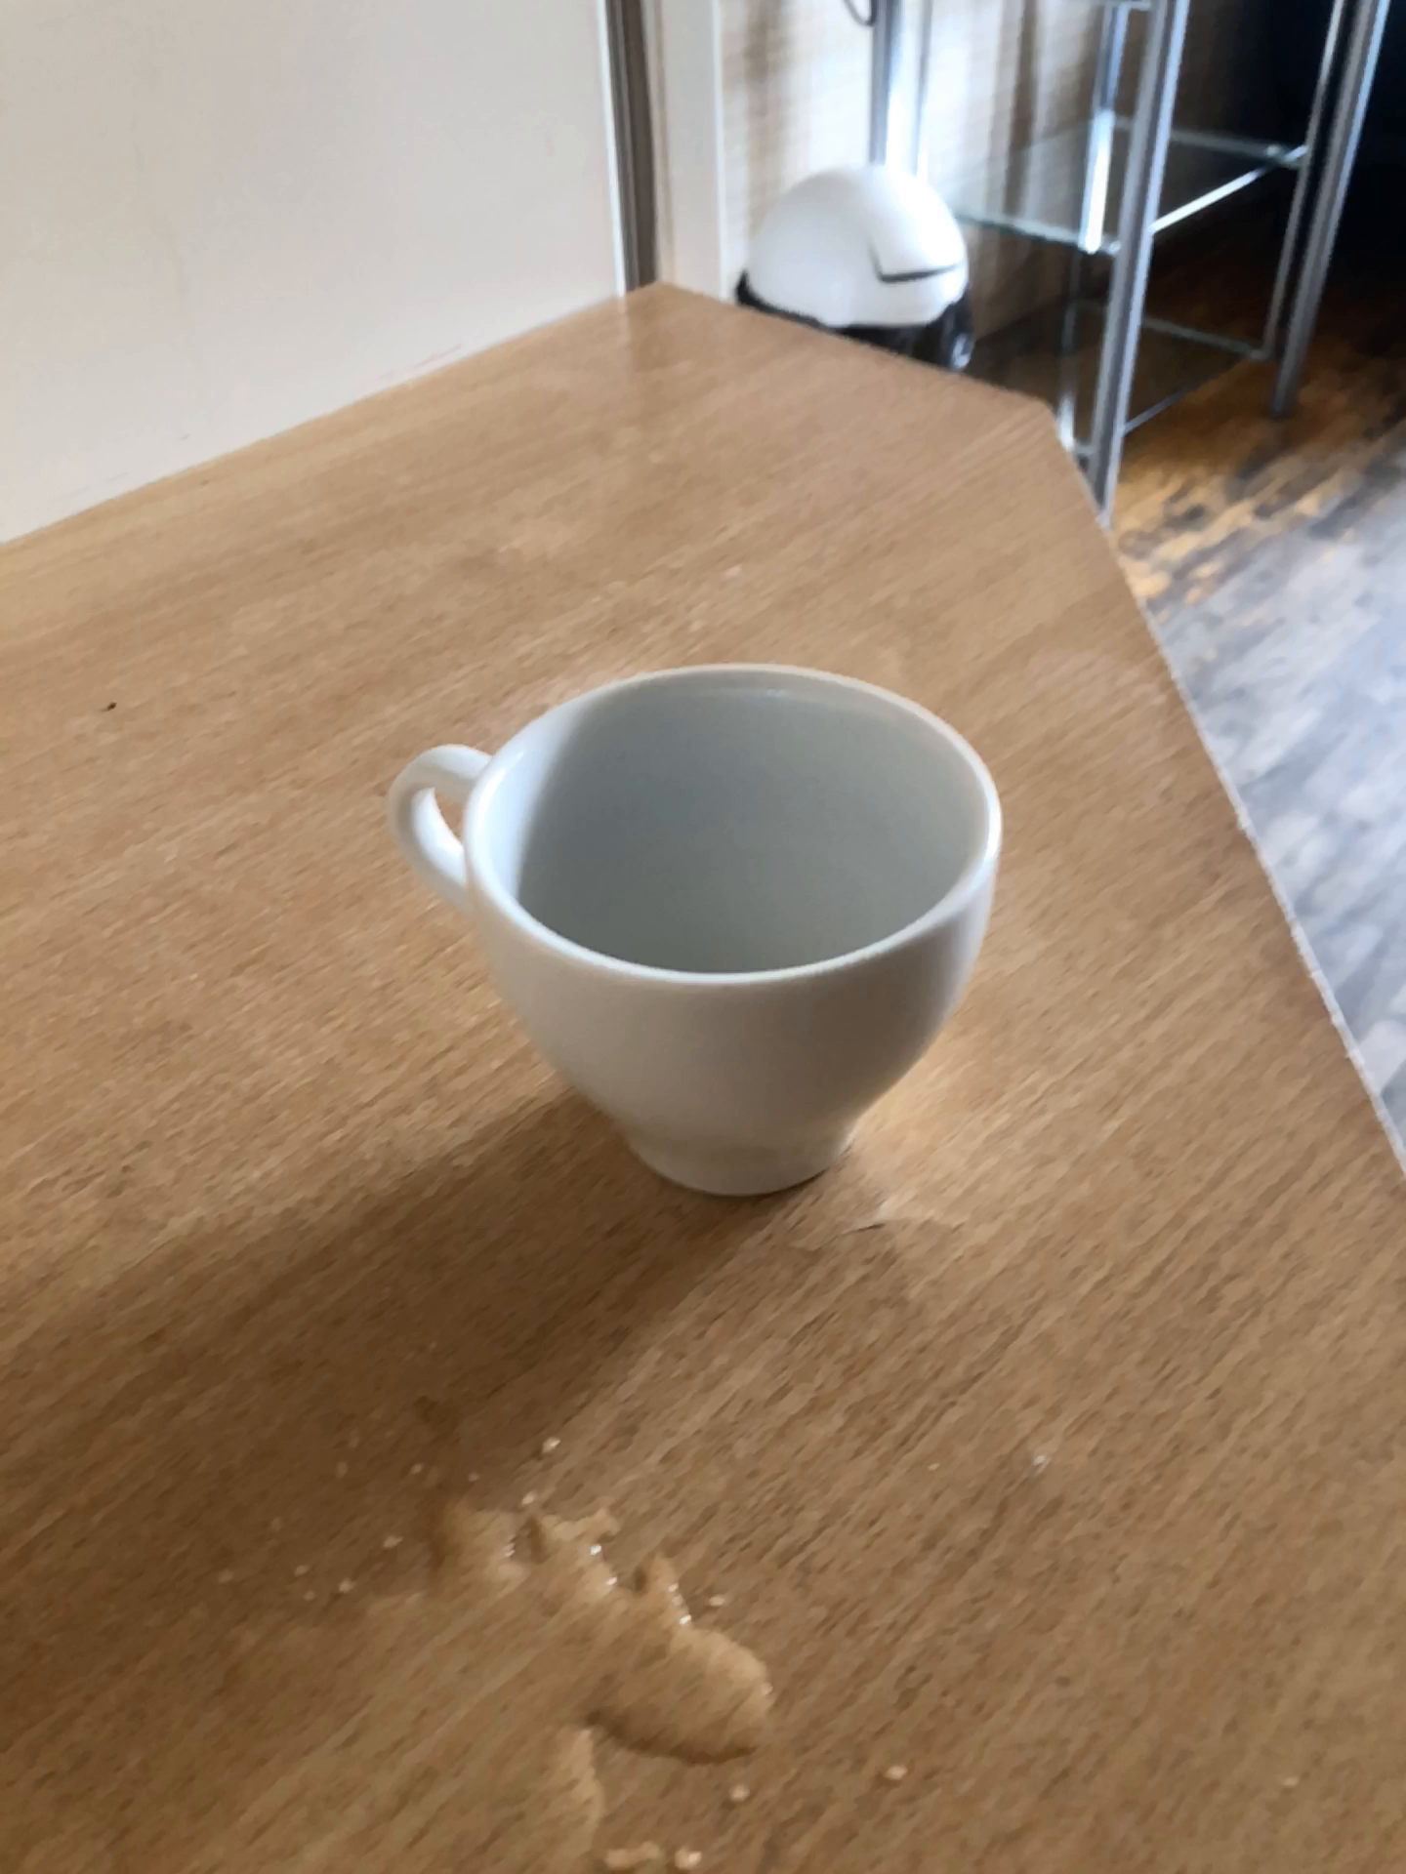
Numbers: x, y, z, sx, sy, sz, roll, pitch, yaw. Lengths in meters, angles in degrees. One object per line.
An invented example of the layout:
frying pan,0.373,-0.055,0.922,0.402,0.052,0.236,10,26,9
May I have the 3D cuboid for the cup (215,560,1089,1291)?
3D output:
cup,-0.005,-0.009,0.248,0.104,0.050,0.080,19,46,22
